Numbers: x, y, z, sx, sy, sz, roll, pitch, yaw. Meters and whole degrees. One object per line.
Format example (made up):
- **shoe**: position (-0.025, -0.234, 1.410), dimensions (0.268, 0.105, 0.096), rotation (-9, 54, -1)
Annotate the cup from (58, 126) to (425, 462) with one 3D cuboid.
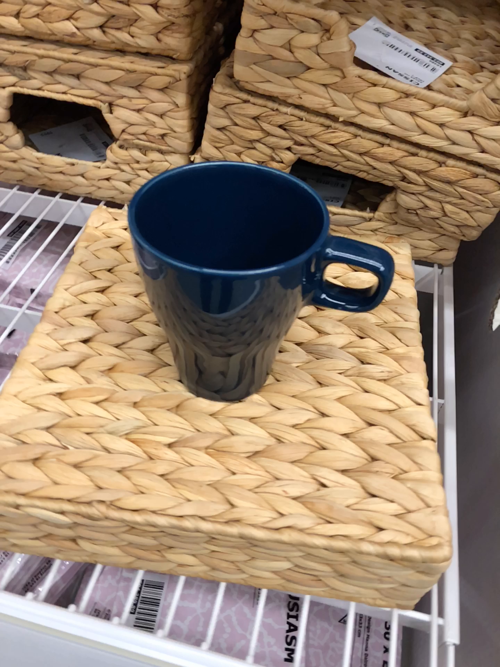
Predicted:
- **cup**: position (-0.001, -0.020, 0.245), dimensions (0.120, 0.090, 0.080), rotation (17, 48, 13)
